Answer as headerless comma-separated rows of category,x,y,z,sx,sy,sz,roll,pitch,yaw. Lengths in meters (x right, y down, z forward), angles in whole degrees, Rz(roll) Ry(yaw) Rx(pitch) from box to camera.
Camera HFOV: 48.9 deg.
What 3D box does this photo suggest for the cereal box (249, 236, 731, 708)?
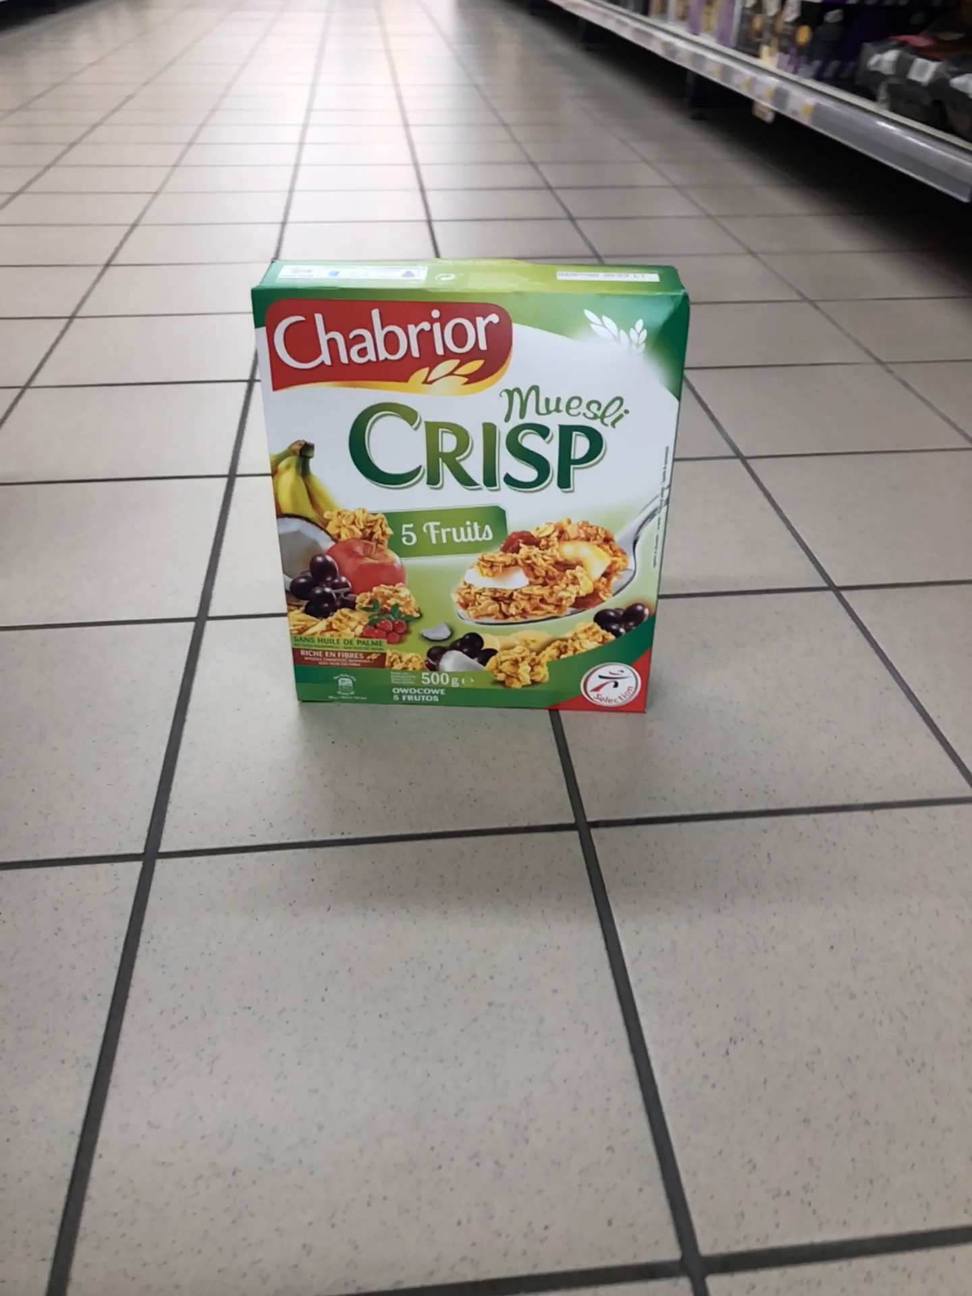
cereal box,0.002,-0.080,0.528,0.200,0.219,0.060,2,34,2
